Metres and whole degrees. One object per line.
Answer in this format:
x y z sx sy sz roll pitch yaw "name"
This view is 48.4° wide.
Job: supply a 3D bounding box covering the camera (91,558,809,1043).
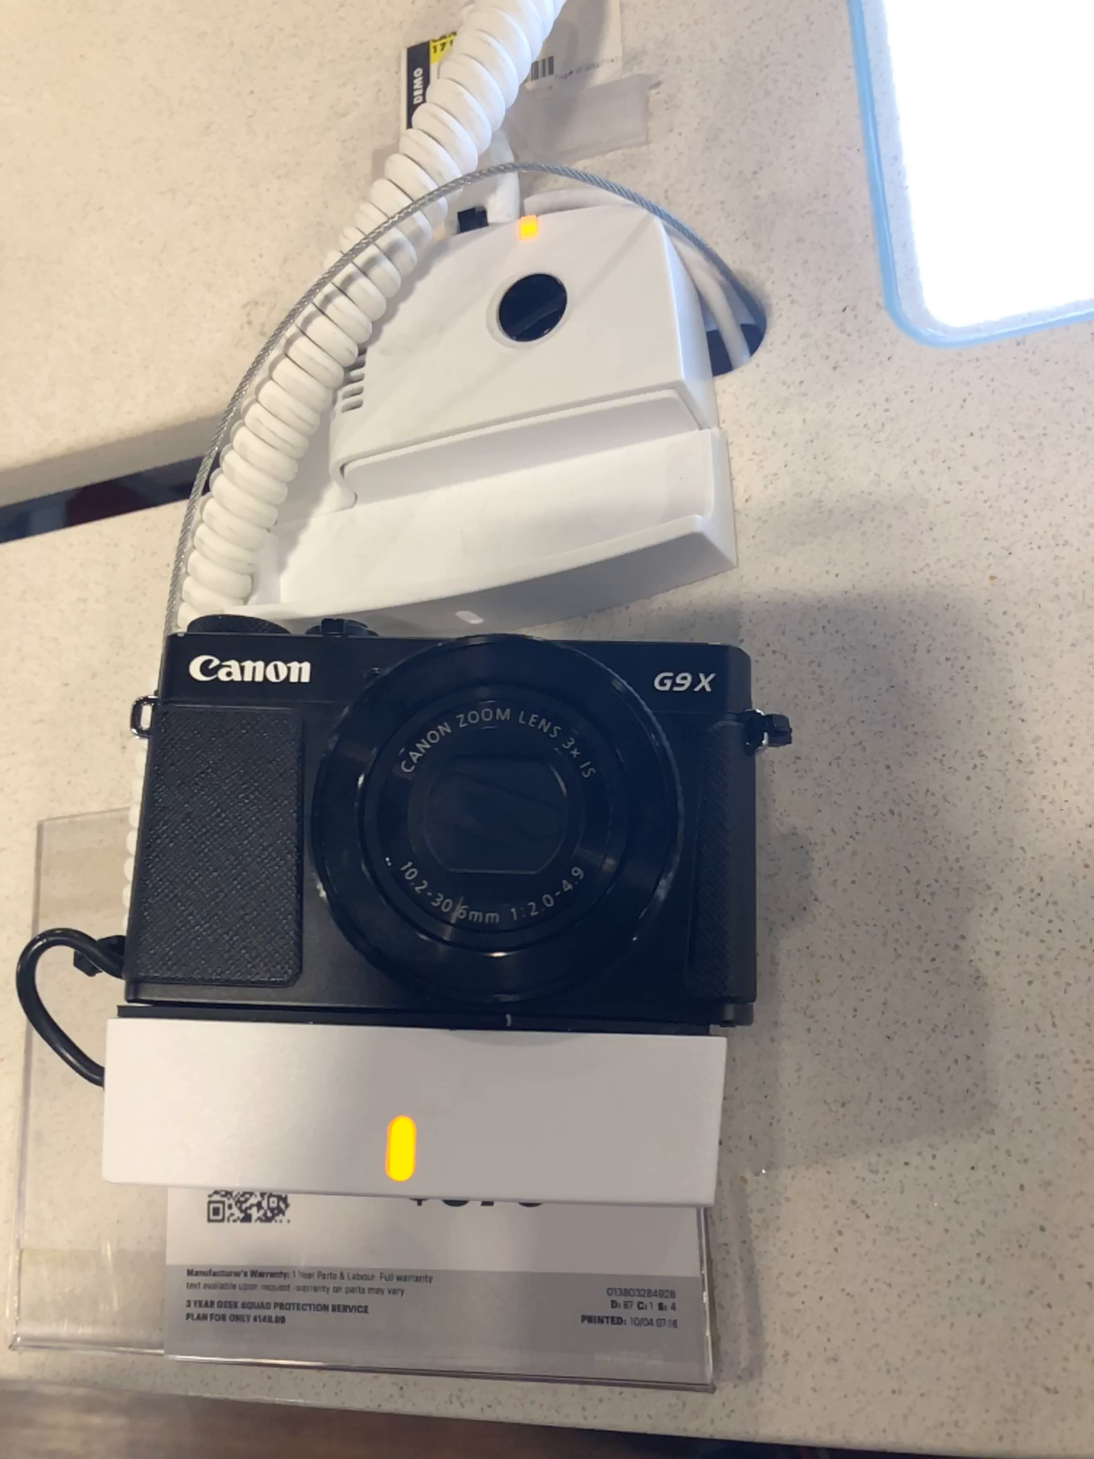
-0.013 0.011 0.187 0.100 0.020 0.070 1 75 3 "camera"
